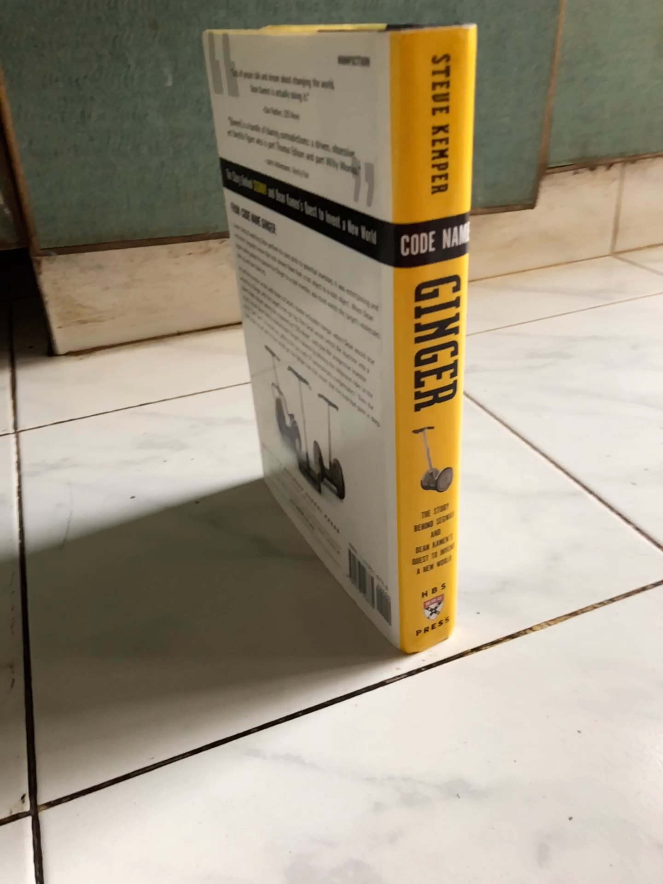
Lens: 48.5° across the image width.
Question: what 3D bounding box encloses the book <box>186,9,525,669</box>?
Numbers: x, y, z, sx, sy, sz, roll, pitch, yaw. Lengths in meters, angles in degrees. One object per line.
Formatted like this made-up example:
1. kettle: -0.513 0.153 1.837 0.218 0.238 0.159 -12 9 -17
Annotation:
1. book: 0.001 -0.054 0.333 0.040 0.239 0.191 -17 33 -21
